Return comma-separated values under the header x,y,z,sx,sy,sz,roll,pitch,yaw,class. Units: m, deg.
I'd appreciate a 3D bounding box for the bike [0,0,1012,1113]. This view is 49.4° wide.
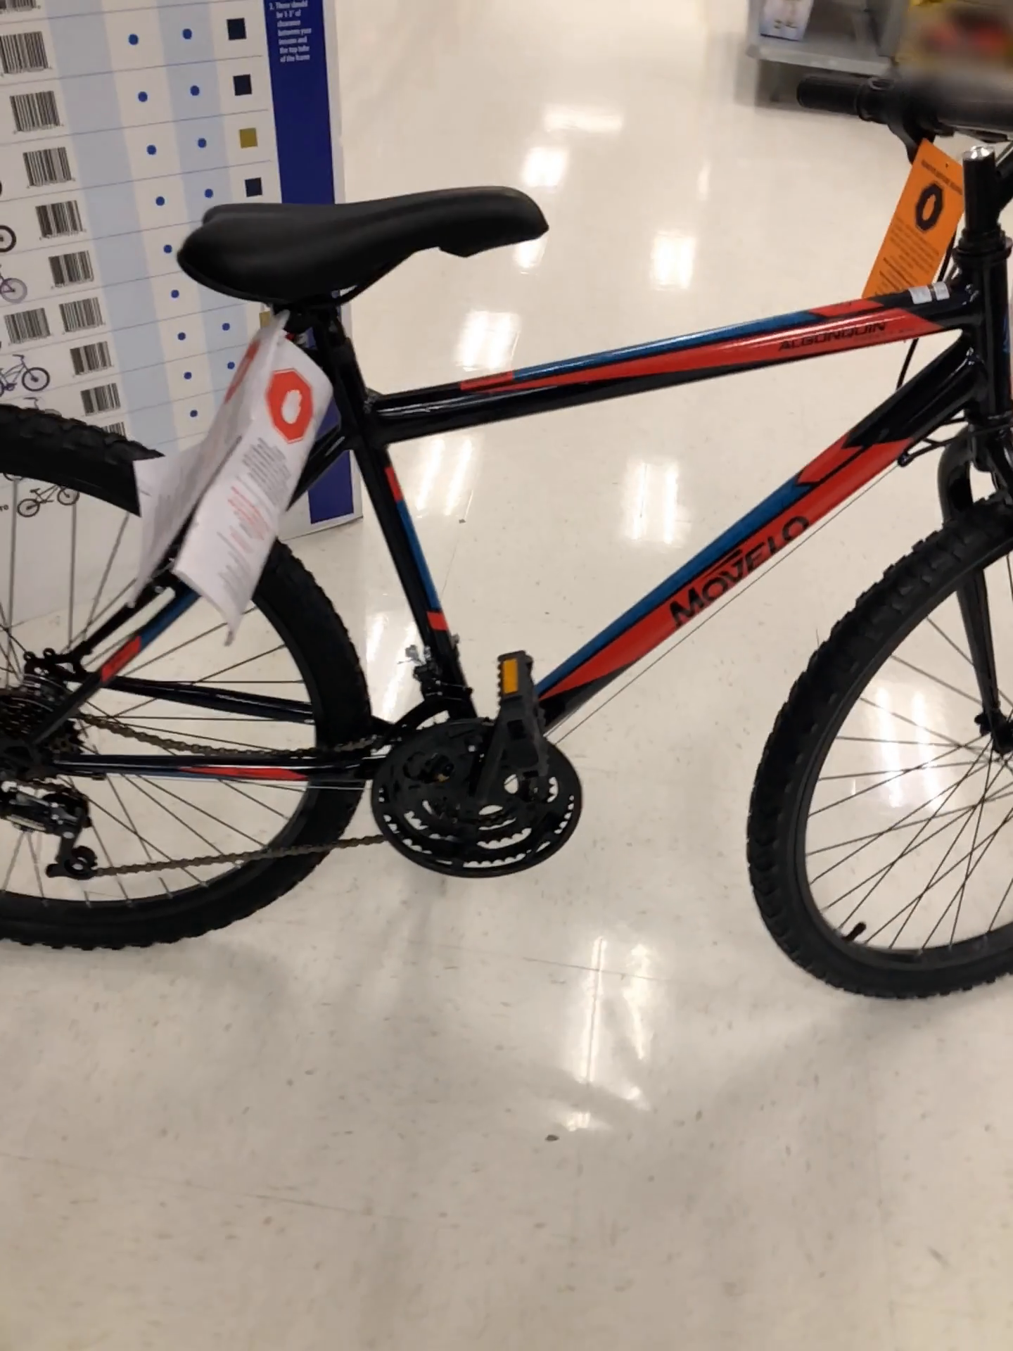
x,y,z,sx,sy,sz,roll,pitch,yaw,class
0.218,-0.096,0.989,1.284,0.942,0.562,0,44,-2,bike
